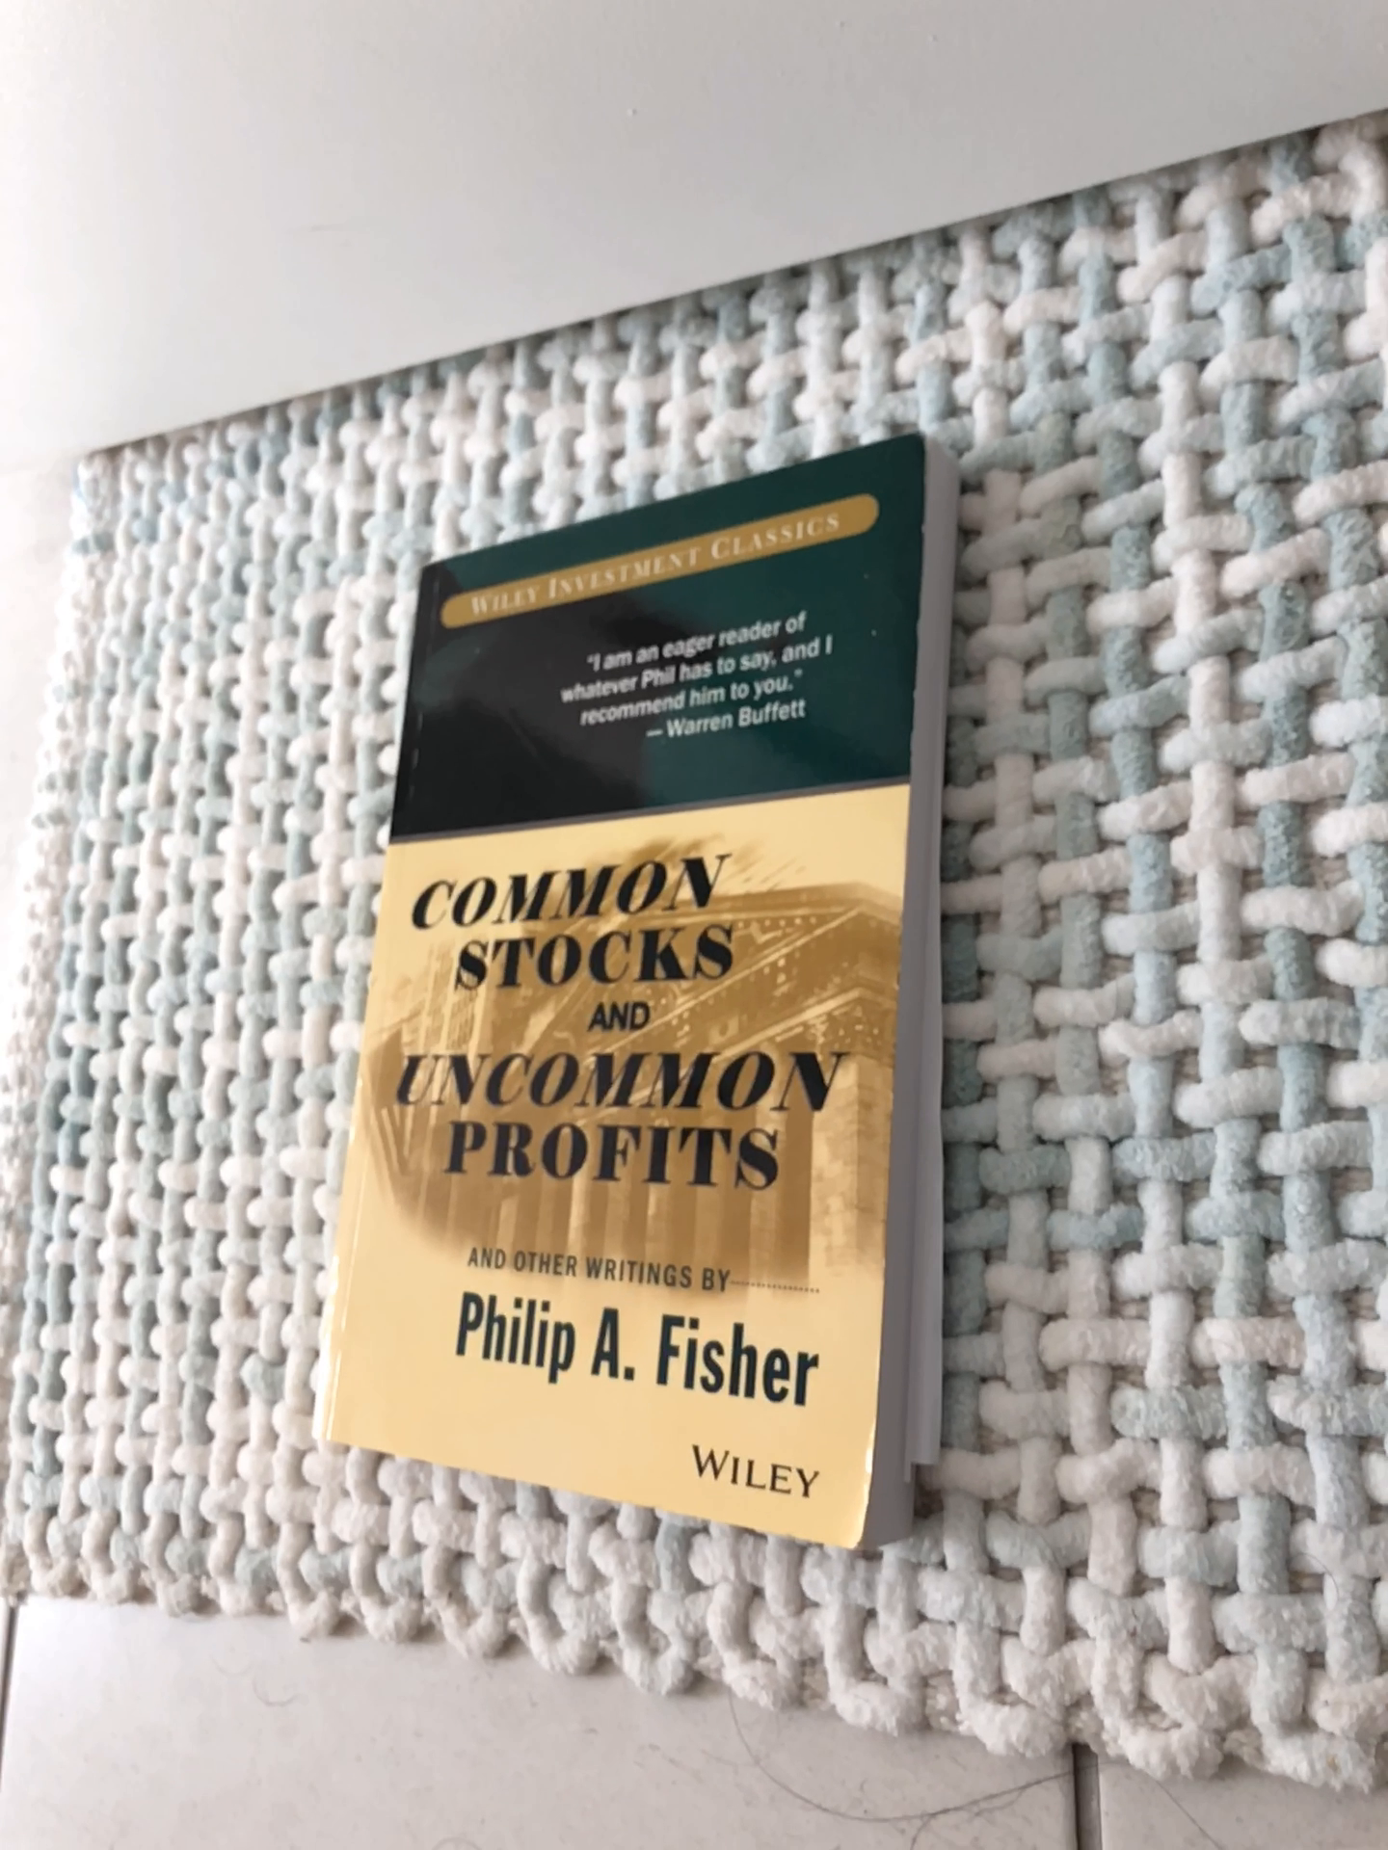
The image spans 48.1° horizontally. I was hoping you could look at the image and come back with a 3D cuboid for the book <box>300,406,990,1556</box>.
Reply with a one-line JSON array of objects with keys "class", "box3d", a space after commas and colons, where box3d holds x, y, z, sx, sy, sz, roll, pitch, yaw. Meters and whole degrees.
[{"class": "book", "box3d": [-0.015, 0.010, 0.386, 0.167, 0.026, 0.247, -4, 75, 35]}]
